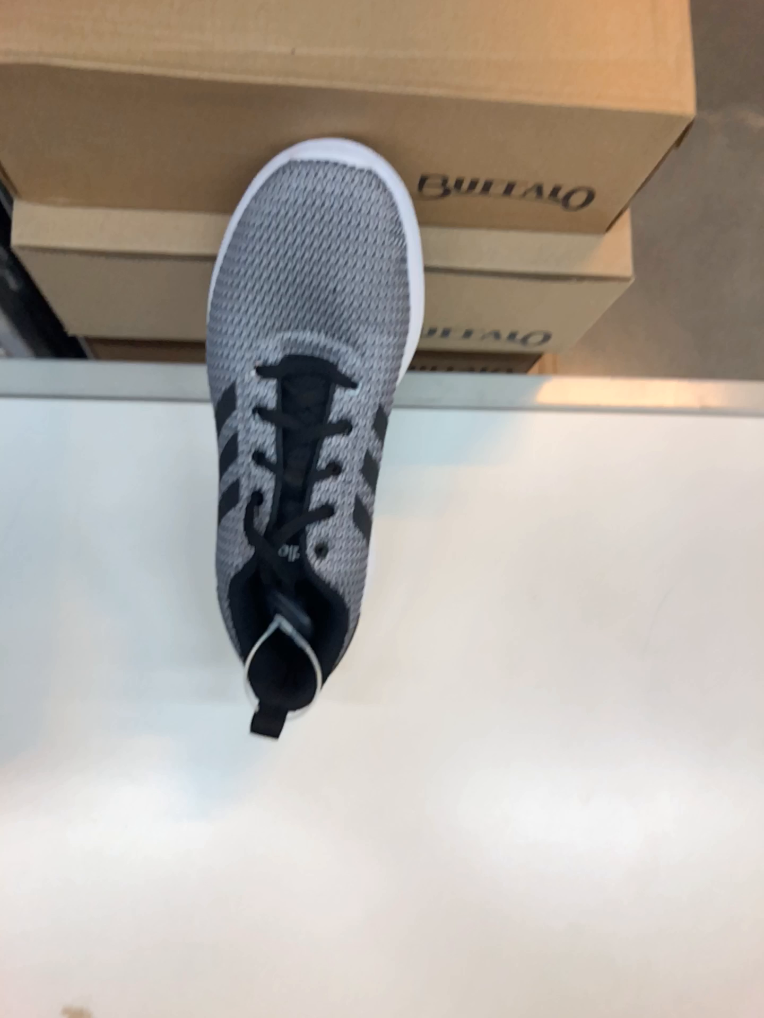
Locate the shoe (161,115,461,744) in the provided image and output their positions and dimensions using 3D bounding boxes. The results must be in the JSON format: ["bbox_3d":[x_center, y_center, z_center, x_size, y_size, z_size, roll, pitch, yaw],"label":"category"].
[{"bbox_3d":[-0.038,-0.033,0.418,0.112,0.099,0.281,5,114,-2],"label":"shoe"}]
